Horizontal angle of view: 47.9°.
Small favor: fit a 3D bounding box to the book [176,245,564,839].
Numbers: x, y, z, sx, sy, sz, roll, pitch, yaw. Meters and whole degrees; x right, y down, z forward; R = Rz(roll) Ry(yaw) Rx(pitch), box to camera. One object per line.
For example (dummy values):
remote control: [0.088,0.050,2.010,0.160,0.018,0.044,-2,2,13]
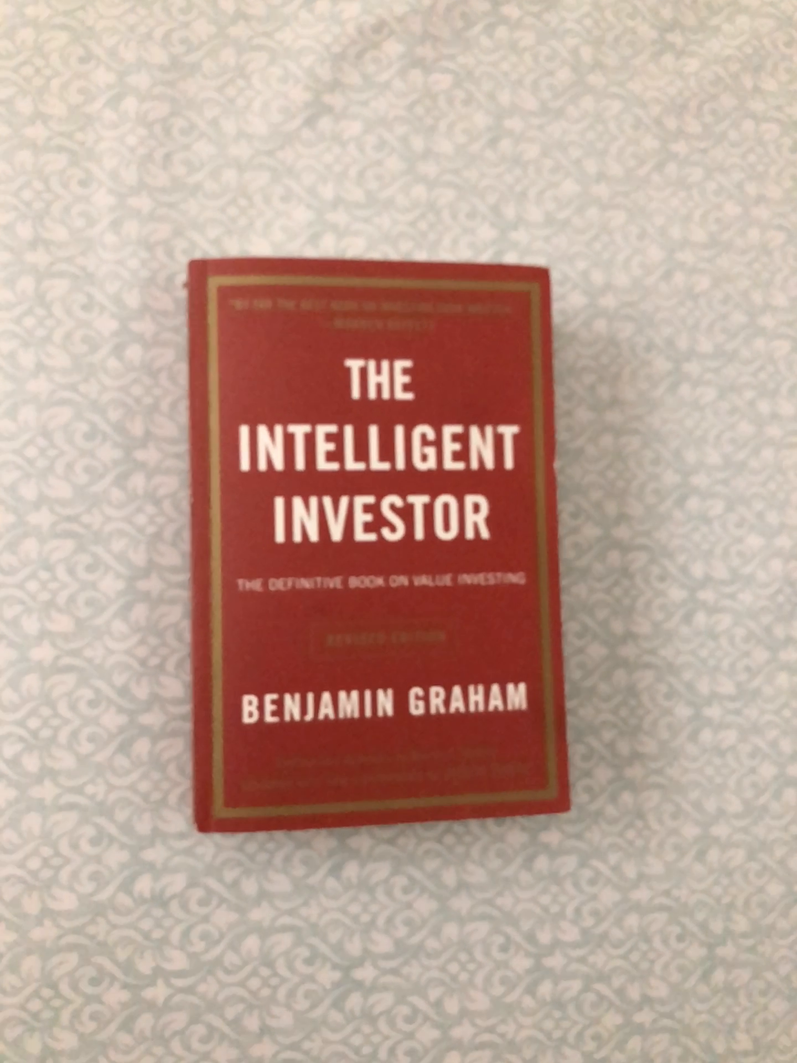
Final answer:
book: [-0.012,0.002,0.336,0.130,0.050,0.200,-1,87,-8]
